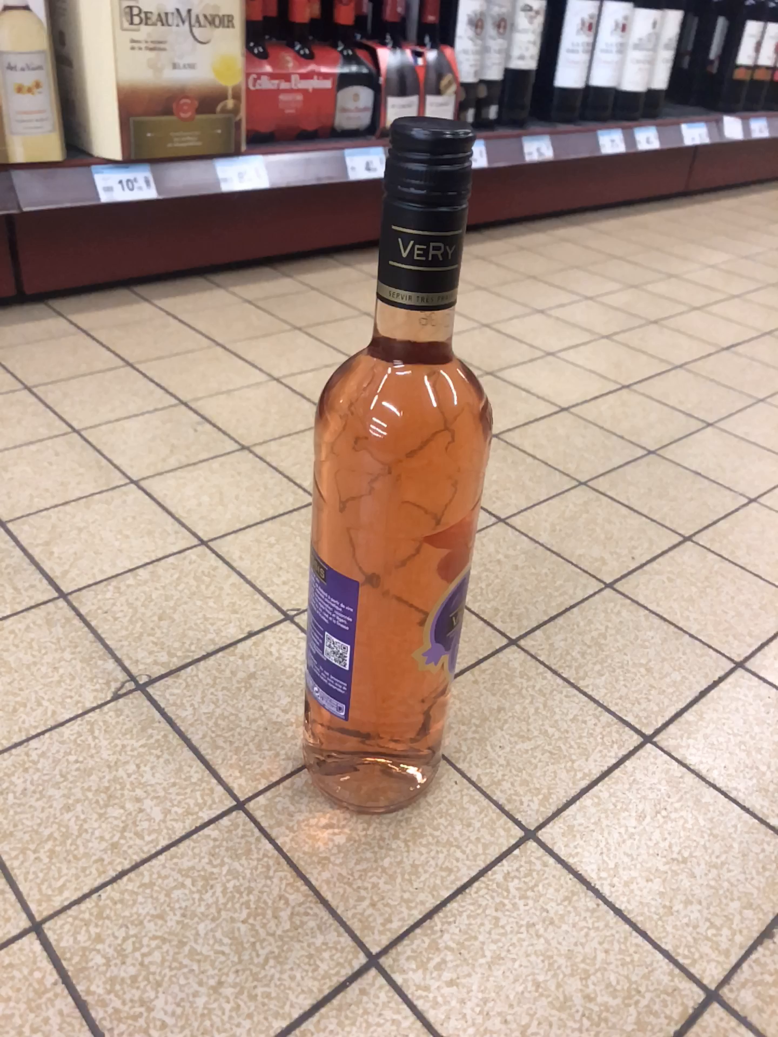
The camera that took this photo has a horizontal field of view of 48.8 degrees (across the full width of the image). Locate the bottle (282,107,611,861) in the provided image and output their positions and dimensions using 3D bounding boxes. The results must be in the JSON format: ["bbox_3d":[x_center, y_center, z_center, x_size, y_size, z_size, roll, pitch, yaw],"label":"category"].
[{"bbox_3d":[0.004,0.004,0.351,0.080,0.298,0.080,4,32,-3],"label":"bottle"}]
